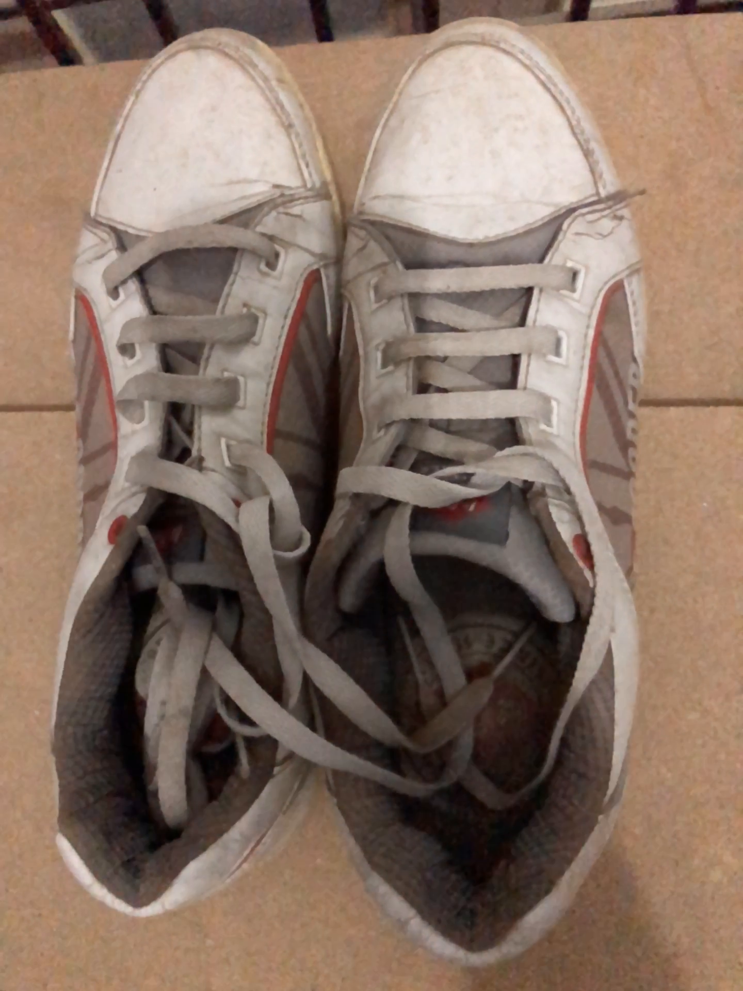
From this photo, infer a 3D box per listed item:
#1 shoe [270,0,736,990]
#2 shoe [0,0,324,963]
[{"bbox_3d":[0.033,-0.014,0.244,0.100,0.080,0.270,0,79,6],"label":"shoe"},{"bbox_3d":[-0.074,-0.020,0.255,0.100,0.080,0.270,0,79,6],"label":"shoe"}]
